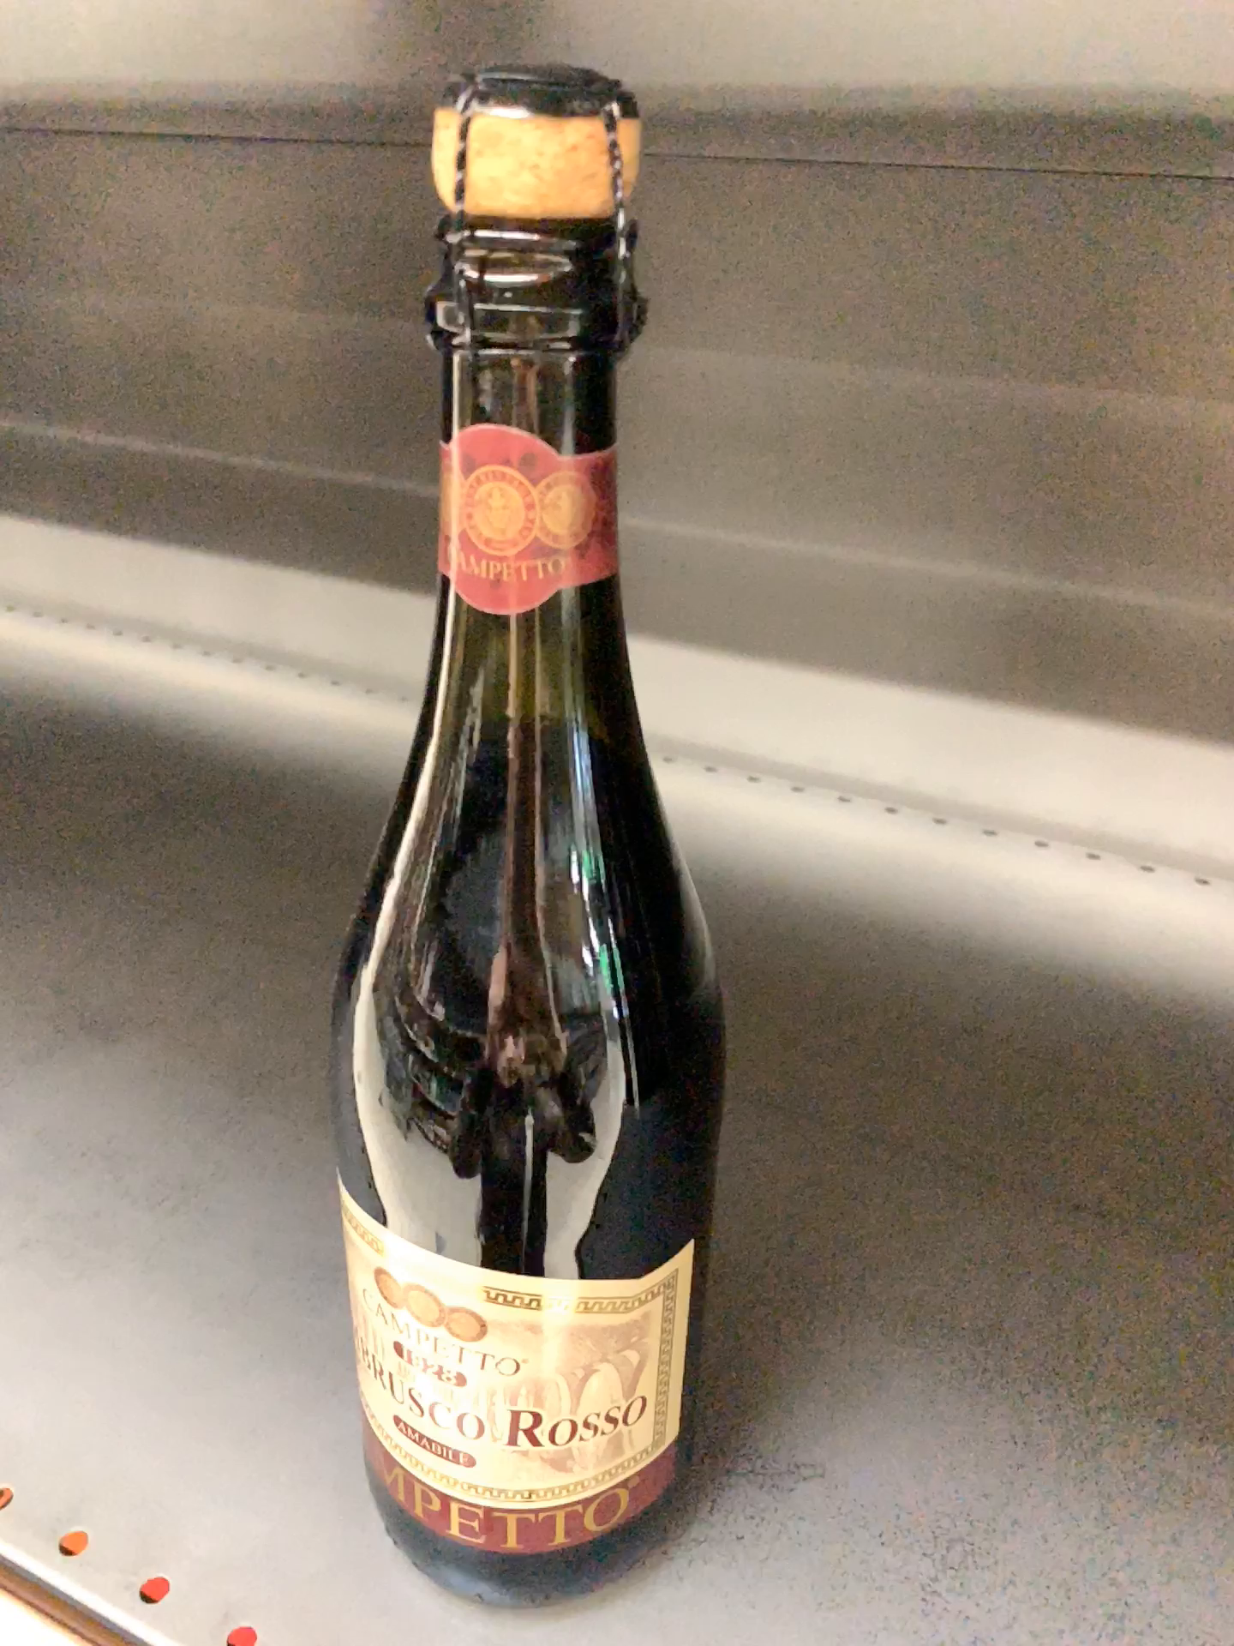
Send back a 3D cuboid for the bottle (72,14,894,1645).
[{"bbox_3d":[-0.020,0.021,0.251,0.090,0.299,0.080,14,29,20],"label":"bottle"}]
